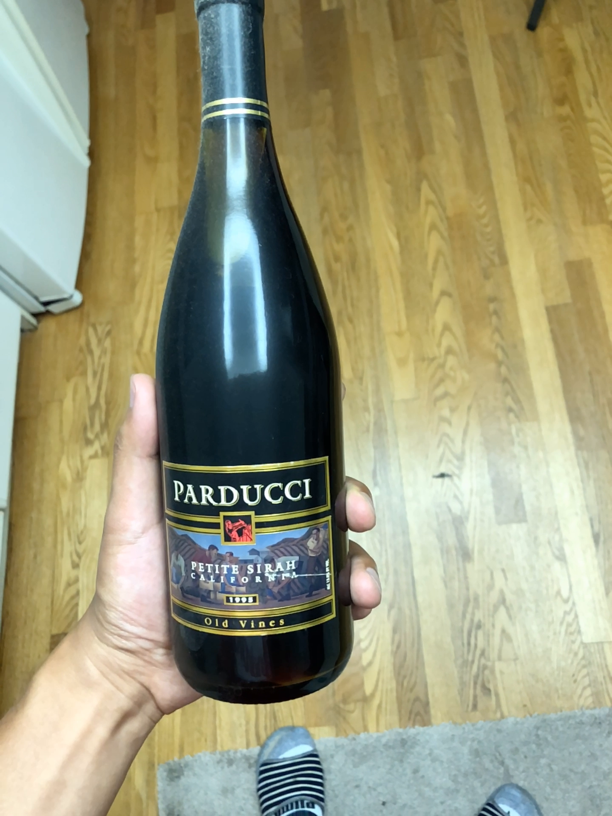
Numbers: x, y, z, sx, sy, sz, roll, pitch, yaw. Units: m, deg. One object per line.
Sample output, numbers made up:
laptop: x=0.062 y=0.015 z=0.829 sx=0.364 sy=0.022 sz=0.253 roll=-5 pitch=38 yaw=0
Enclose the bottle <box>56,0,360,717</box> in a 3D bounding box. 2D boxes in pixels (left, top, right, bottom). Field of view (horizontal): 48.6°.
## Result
bottle: x=-0.029 y=-0.023 z=0.282 sx=0.090 sy=0.070 sz=0.280 roll=-2 pitch=98 yaw=7
